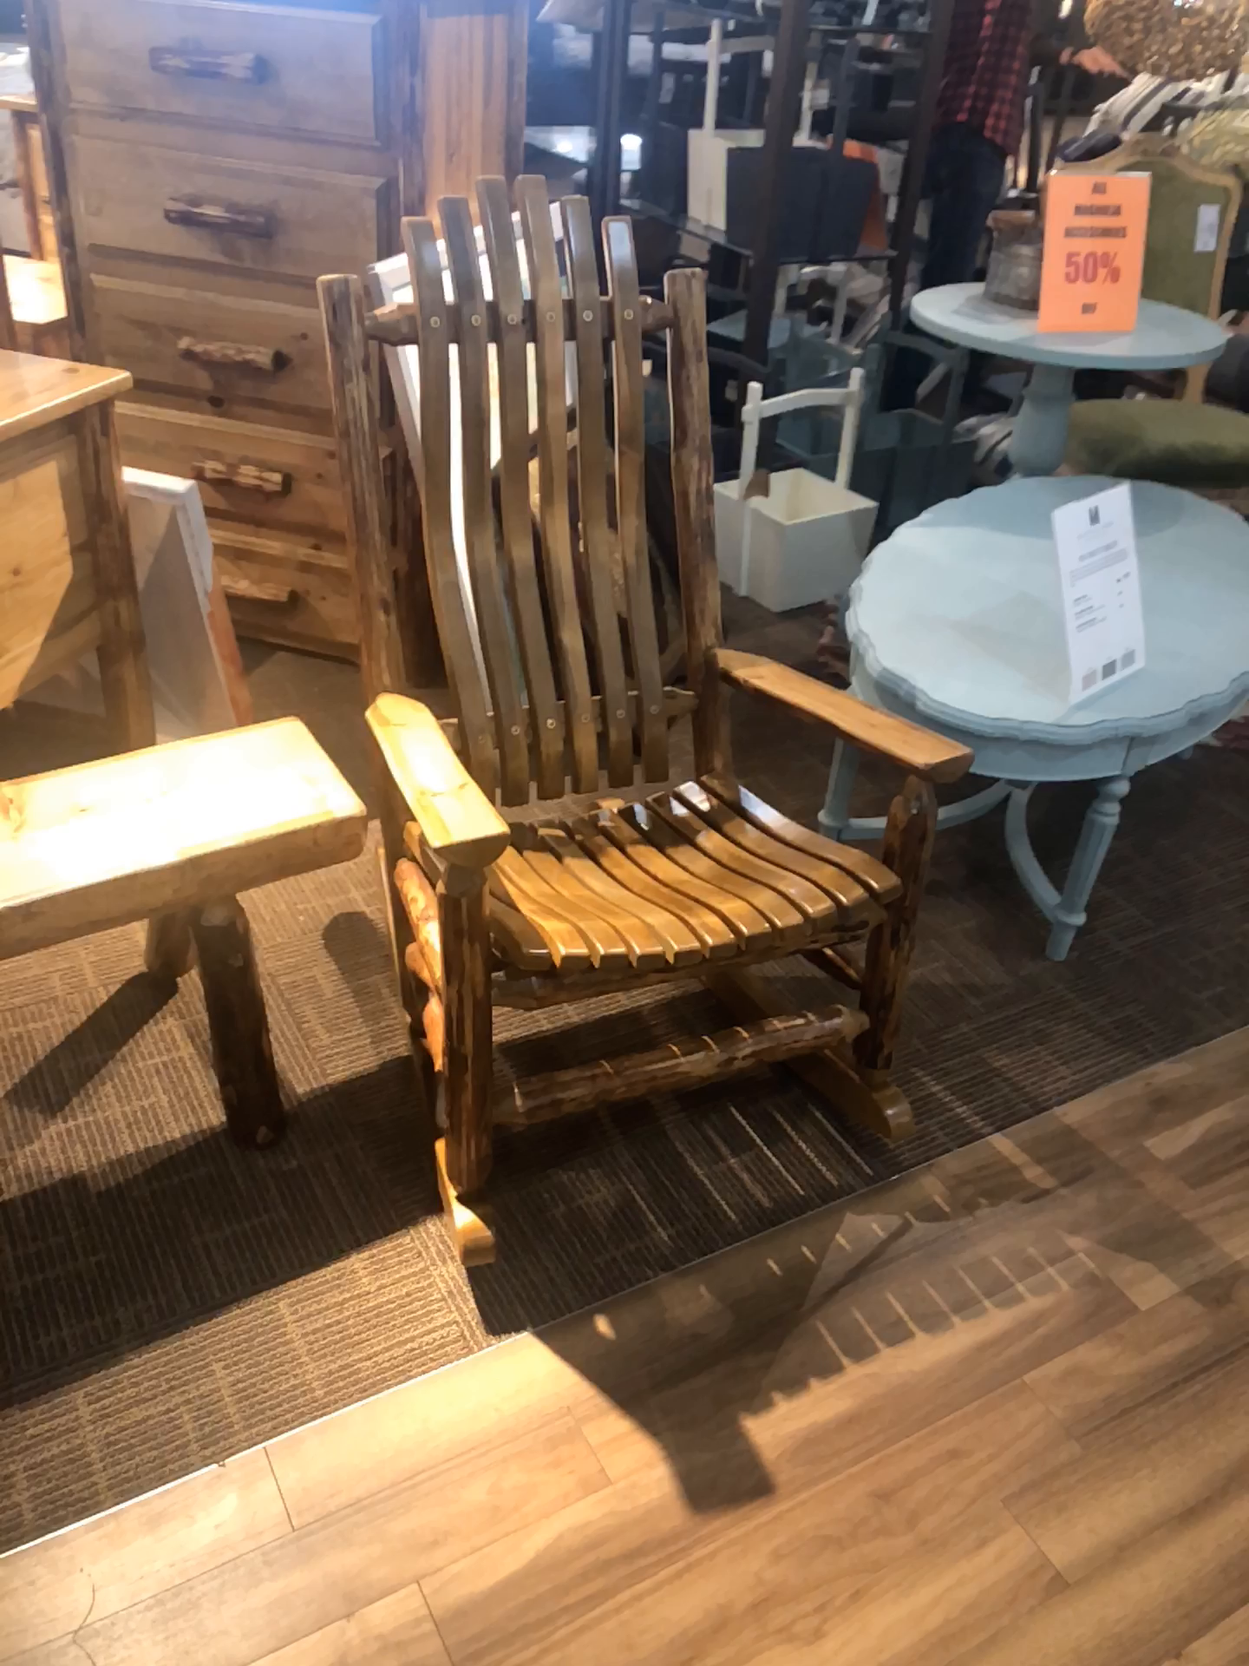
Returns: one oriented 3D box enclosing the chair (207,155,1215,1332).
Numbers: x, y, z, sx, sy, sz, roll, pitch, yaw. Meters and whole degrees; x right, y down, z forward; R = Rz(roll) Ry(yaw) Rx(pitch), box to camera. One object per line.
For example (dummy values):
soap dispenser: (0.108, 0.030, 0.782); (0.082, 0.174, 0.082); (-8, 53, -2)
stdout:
chair: (-0.022, -0.184, 1.696); (0.718, 1.048, 0.888); (-10, 36, -23)
